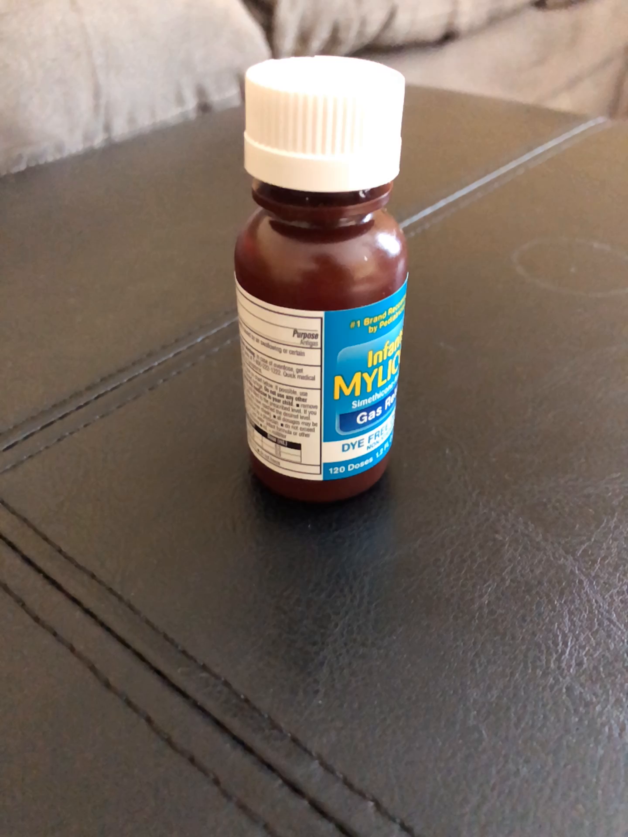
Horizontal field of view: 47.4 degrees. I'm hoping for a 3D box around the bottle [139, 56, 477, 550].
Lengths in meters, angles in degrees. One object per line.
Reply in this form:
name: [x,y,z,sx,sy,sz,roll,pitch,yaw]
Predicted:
bottle: [0.000,-0.022,0.142,0.040,0.080,0.040,0,39,0]
